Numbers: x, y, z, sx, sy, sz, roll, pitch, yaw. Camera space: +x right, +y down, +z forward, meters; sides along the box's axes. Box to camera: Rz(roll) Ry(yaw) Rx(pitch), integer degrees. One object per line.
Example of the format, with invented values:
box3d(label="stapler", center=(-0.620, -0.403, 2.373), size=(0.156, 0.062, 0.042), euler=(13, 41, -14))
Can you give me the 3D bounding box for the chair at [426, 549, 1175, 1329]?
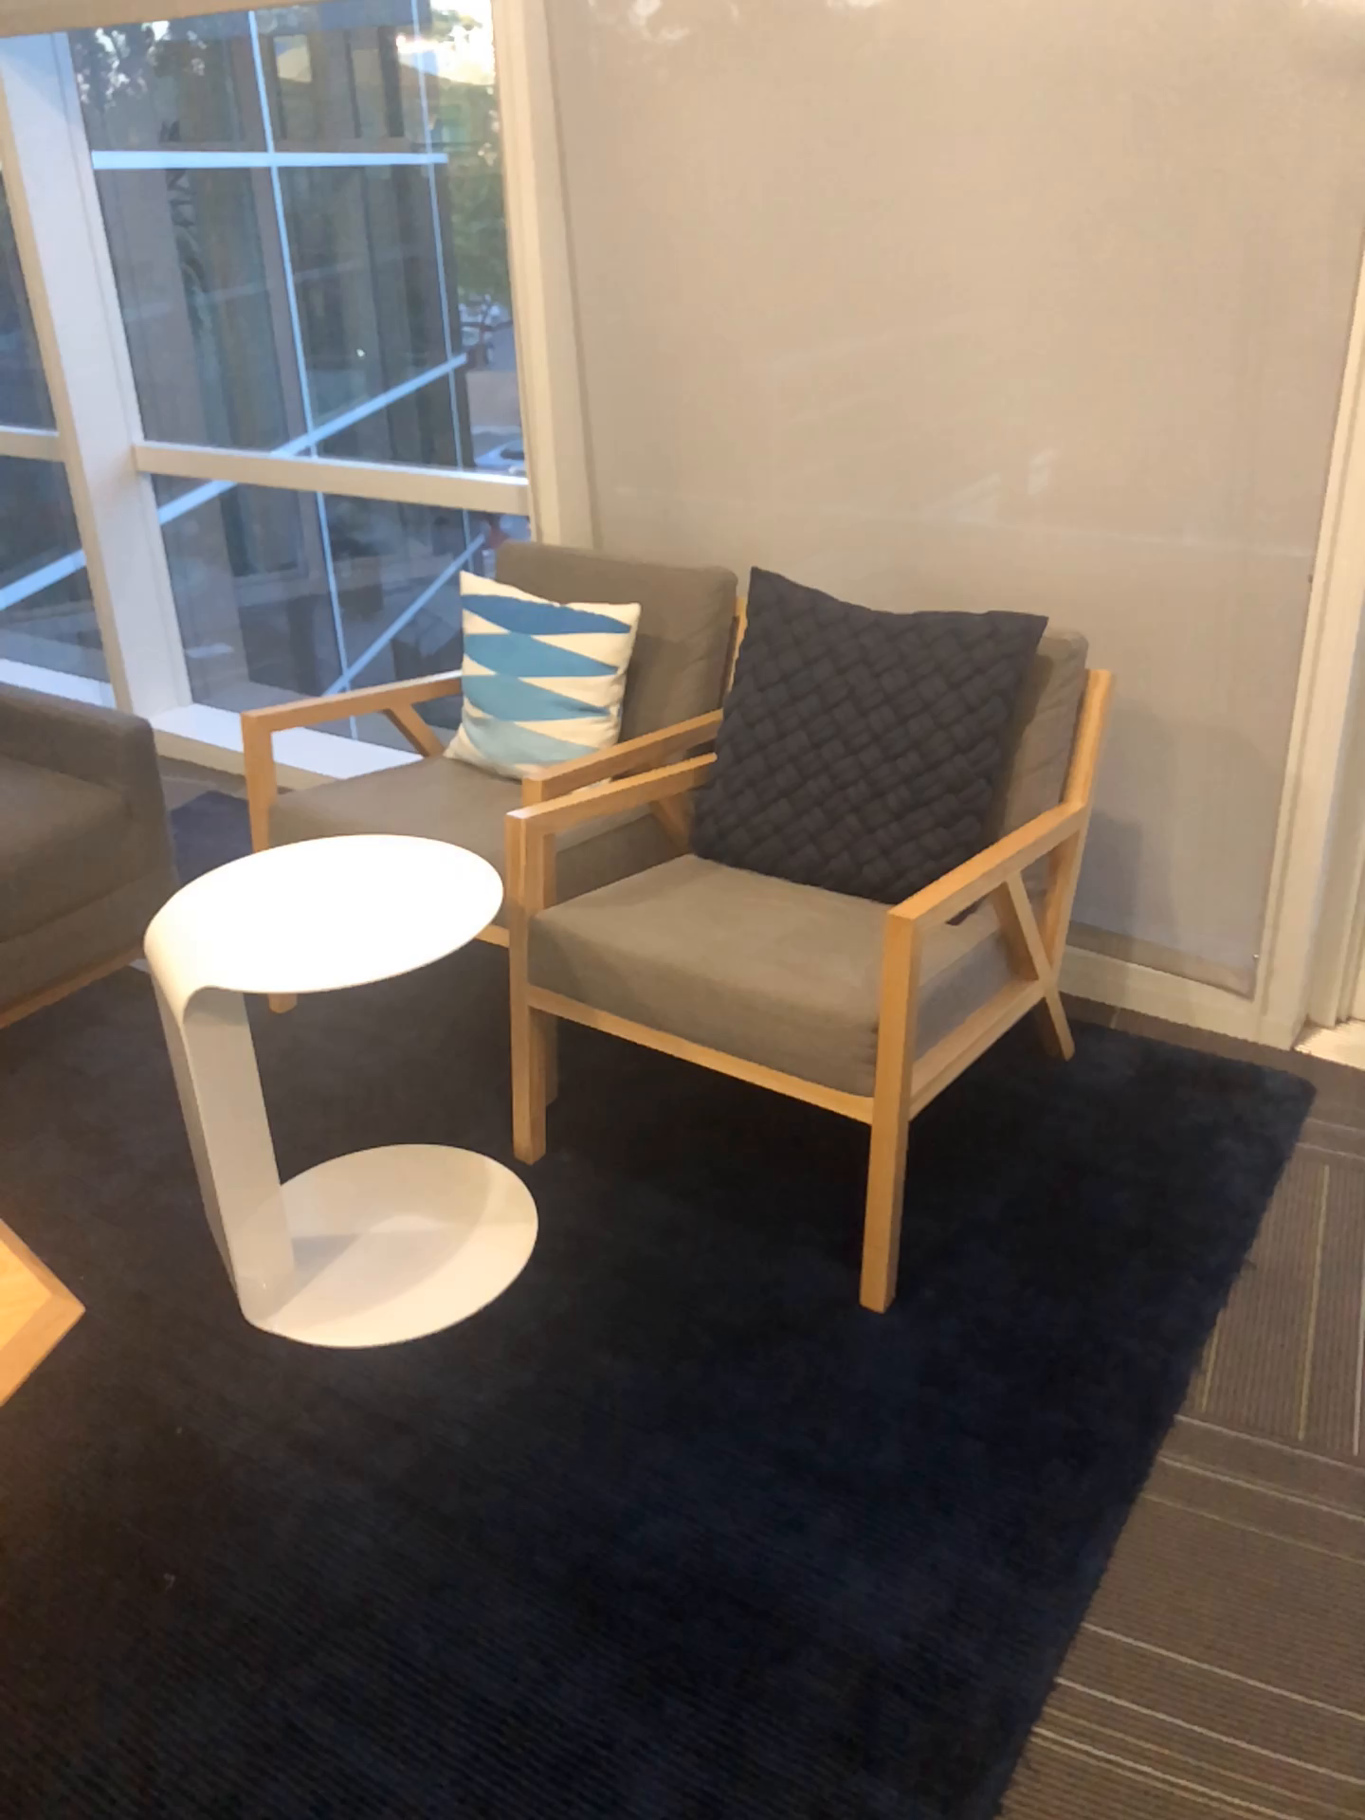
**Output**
box3d(label="chair", center=(0.215, -0.044, 2.317), size=(0.740, 0.774, 0.856), euler=(15, 31, 32))
